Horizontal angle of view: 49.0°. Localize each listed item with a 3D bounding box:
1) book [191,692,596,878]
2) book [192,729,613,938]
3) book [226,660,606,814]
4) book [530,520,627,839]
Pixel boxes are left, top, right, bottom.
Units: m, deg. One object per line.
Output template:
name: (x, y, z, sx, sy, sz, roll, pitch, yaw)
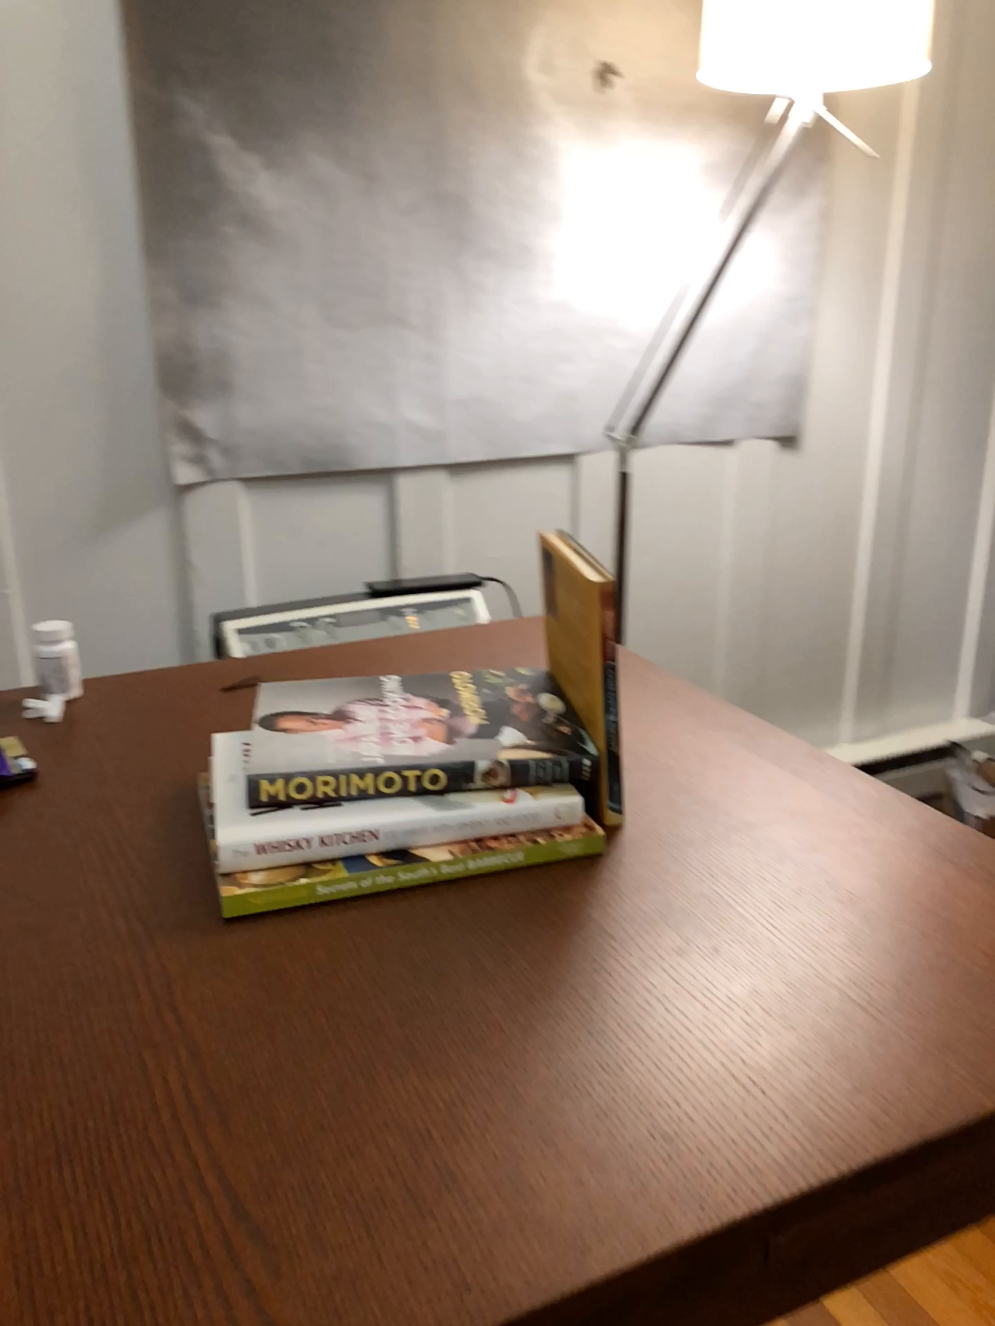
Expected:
book: (-0.093, 0.085, 0.862, 0.280, 0.030, 0.221, -4, 19, -16)
book: (-0.084, 0.119, 0.847, 0.280, 0.030, 0.221, -5, 19, -18)
book: (-0.076, 0.053, 0.909, 0.280, 0.030, 0.221, -3, 19, -11)
book: (0.065, 0.003, 0.911, 0.030, 0.209, 0.211, -5, 18, -7)
